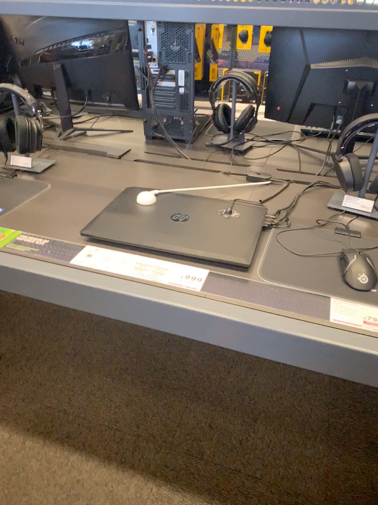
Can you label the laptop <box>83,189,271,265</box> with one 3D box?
[{"bbox_3d":[-0.016,-0.078,0.942,0.394,0.001,0.258,10,36,15],"label":"laptop"}]
